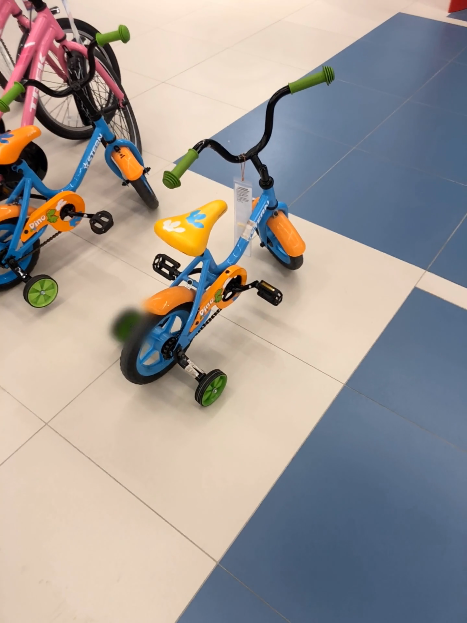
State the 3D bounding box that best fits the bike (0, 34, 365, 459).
[{"bbox_3d":[-0.073,-0.214,1.374,0.565,0.681,0.753,20,49,19],"label":"bike"}]
